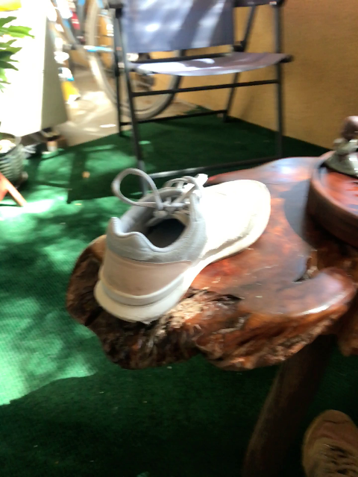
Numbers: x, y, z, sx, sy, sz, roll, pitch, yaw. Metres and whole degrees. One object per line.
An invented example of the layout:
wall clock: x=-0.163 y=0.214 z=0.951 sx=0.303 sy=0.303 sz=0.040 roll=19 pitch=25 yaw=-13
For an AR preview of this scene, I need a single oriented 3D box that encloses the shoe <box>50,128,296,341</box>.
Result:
shoe: x=0.009 y=-0.024 z=0.435 sx=0.102 sy=0.091 sz=0.265 roll=29 pitch=49 yaw=35
